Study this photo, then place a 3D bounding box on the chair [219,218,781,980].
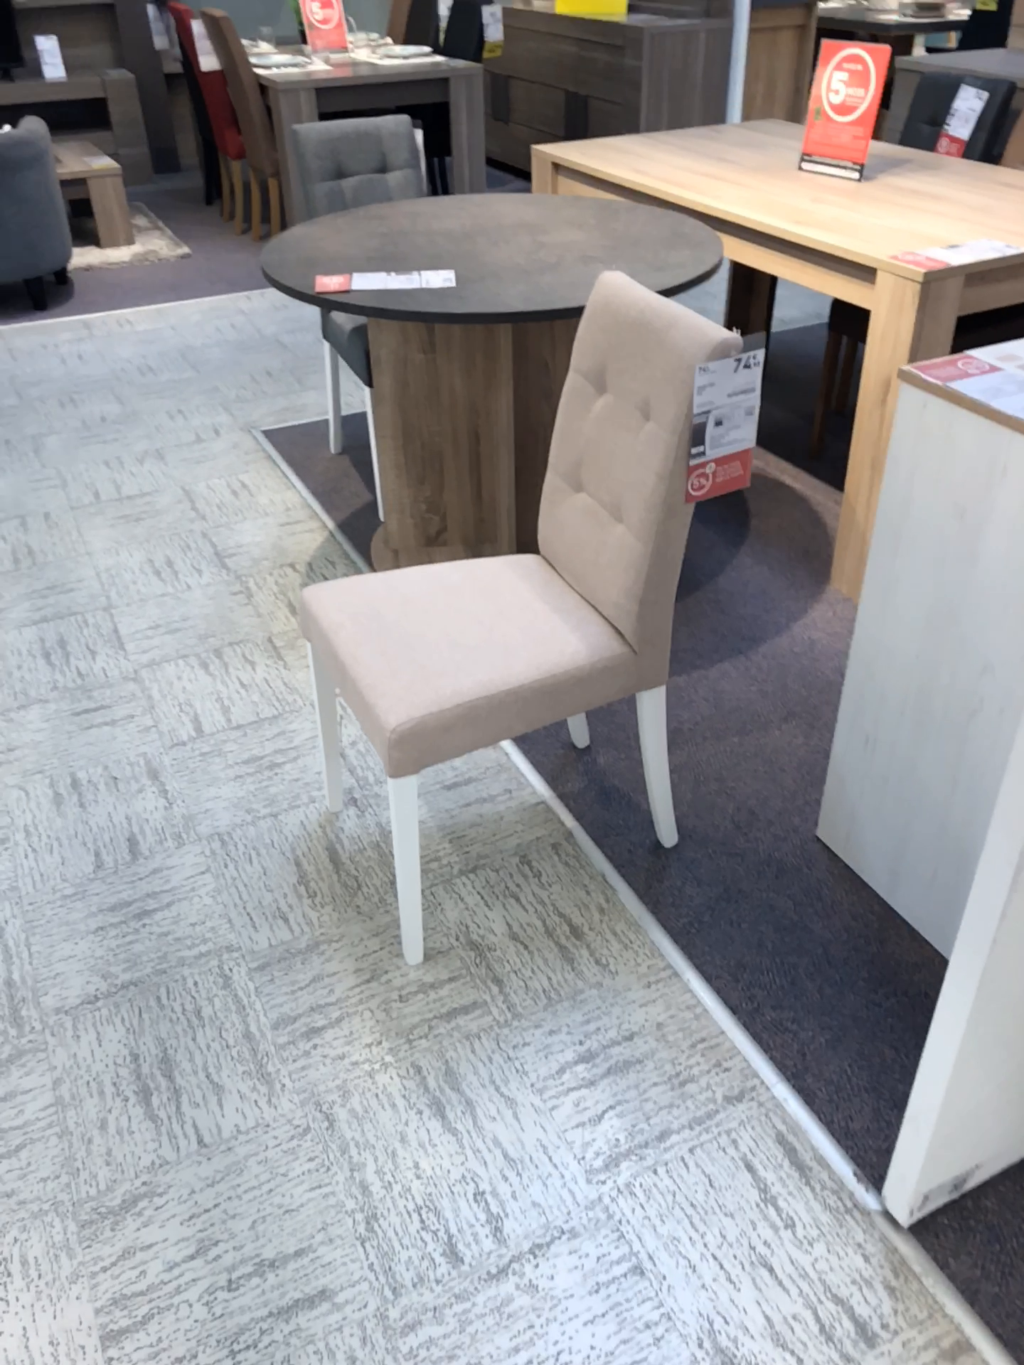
[{"bbox_3d":[-0.023,-0.122,1.556,0.531,0.855,0.432,-16,37,-20],"label":"chair"}]
